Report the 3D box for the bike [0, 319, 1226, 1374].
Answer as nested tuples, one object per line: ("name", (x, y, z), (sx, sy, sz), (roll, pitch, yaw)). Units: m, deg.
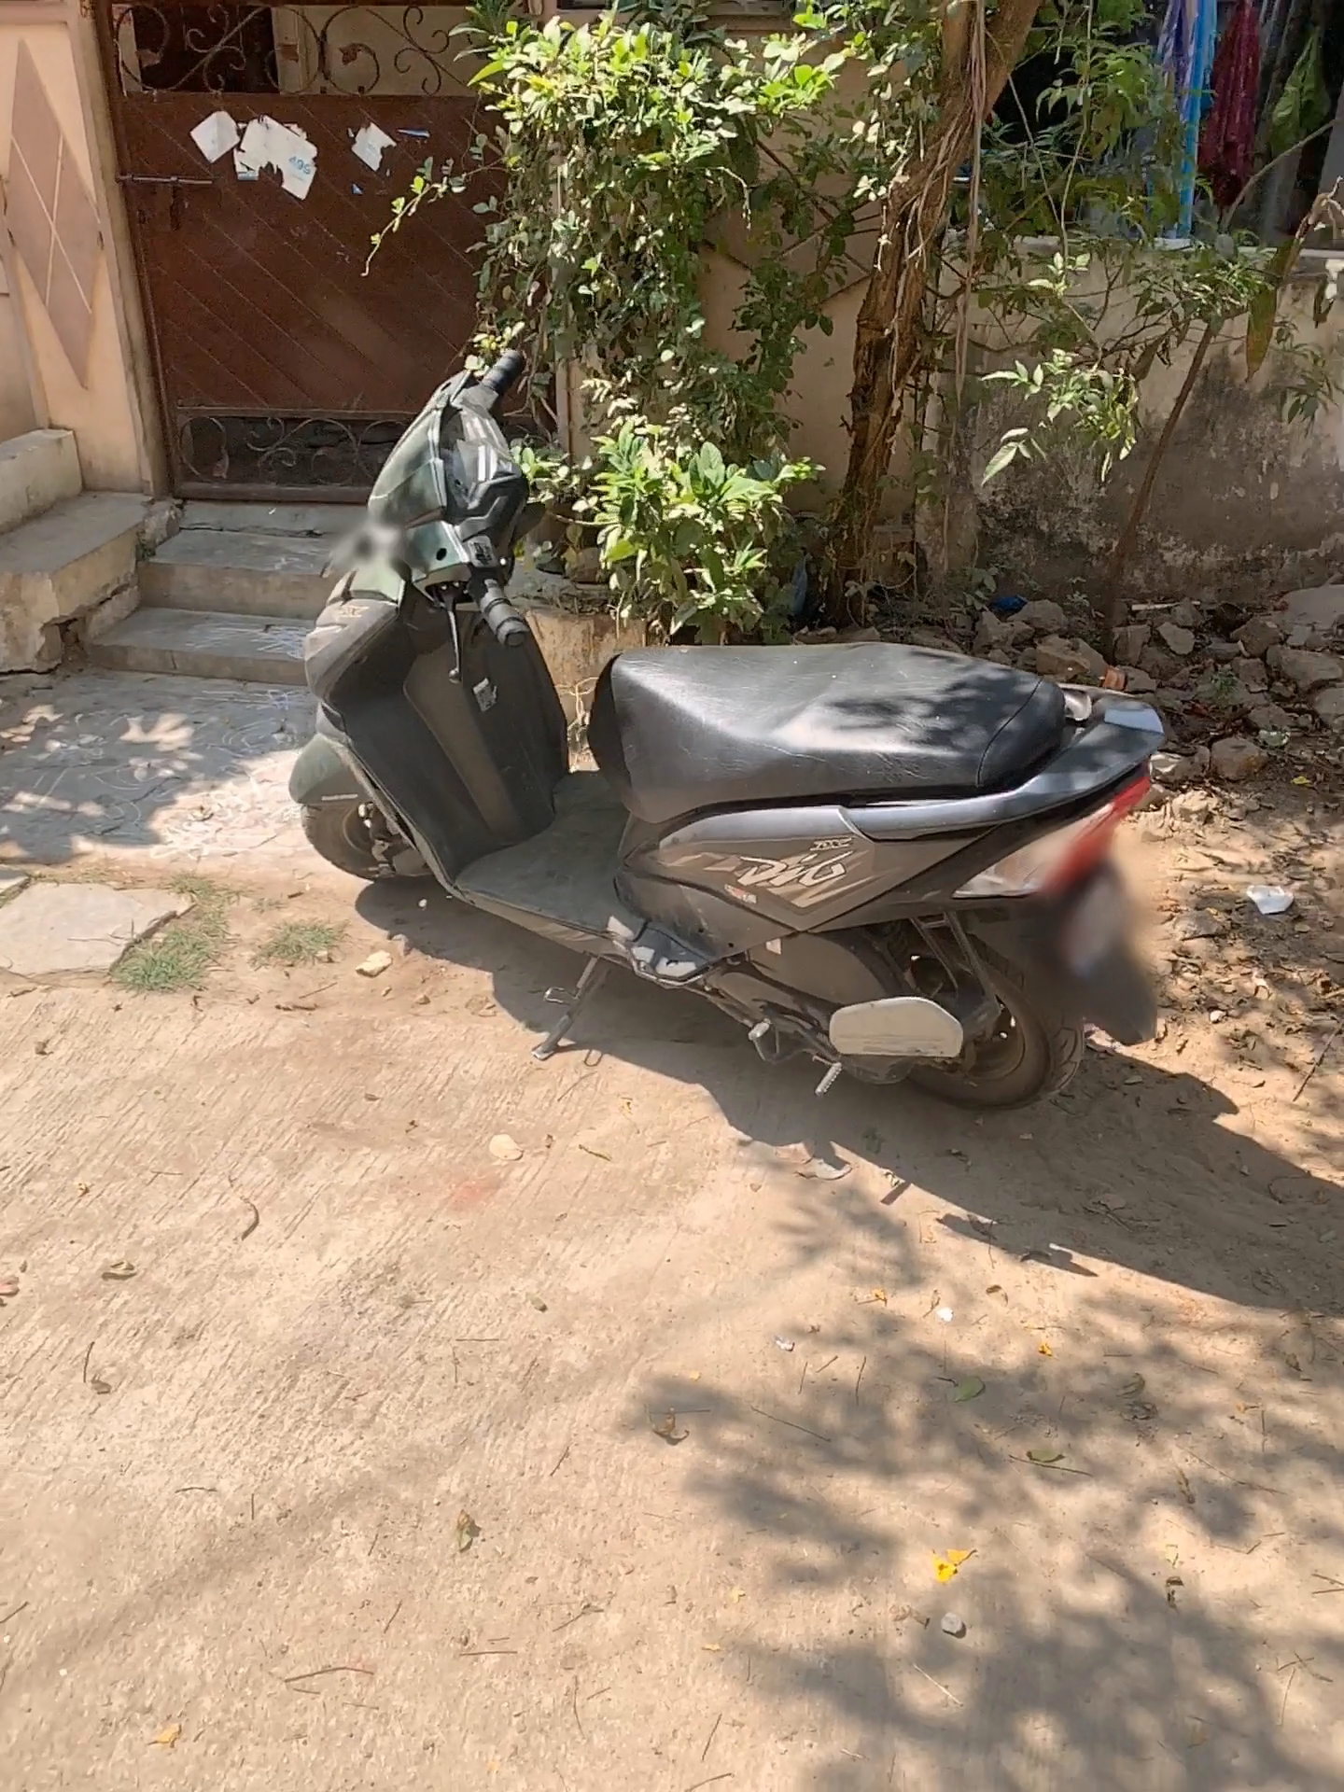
("bike", (-0.139, -0.162, 2.134), (1.529, 1.174, 0.626), (16, 32, 22))
